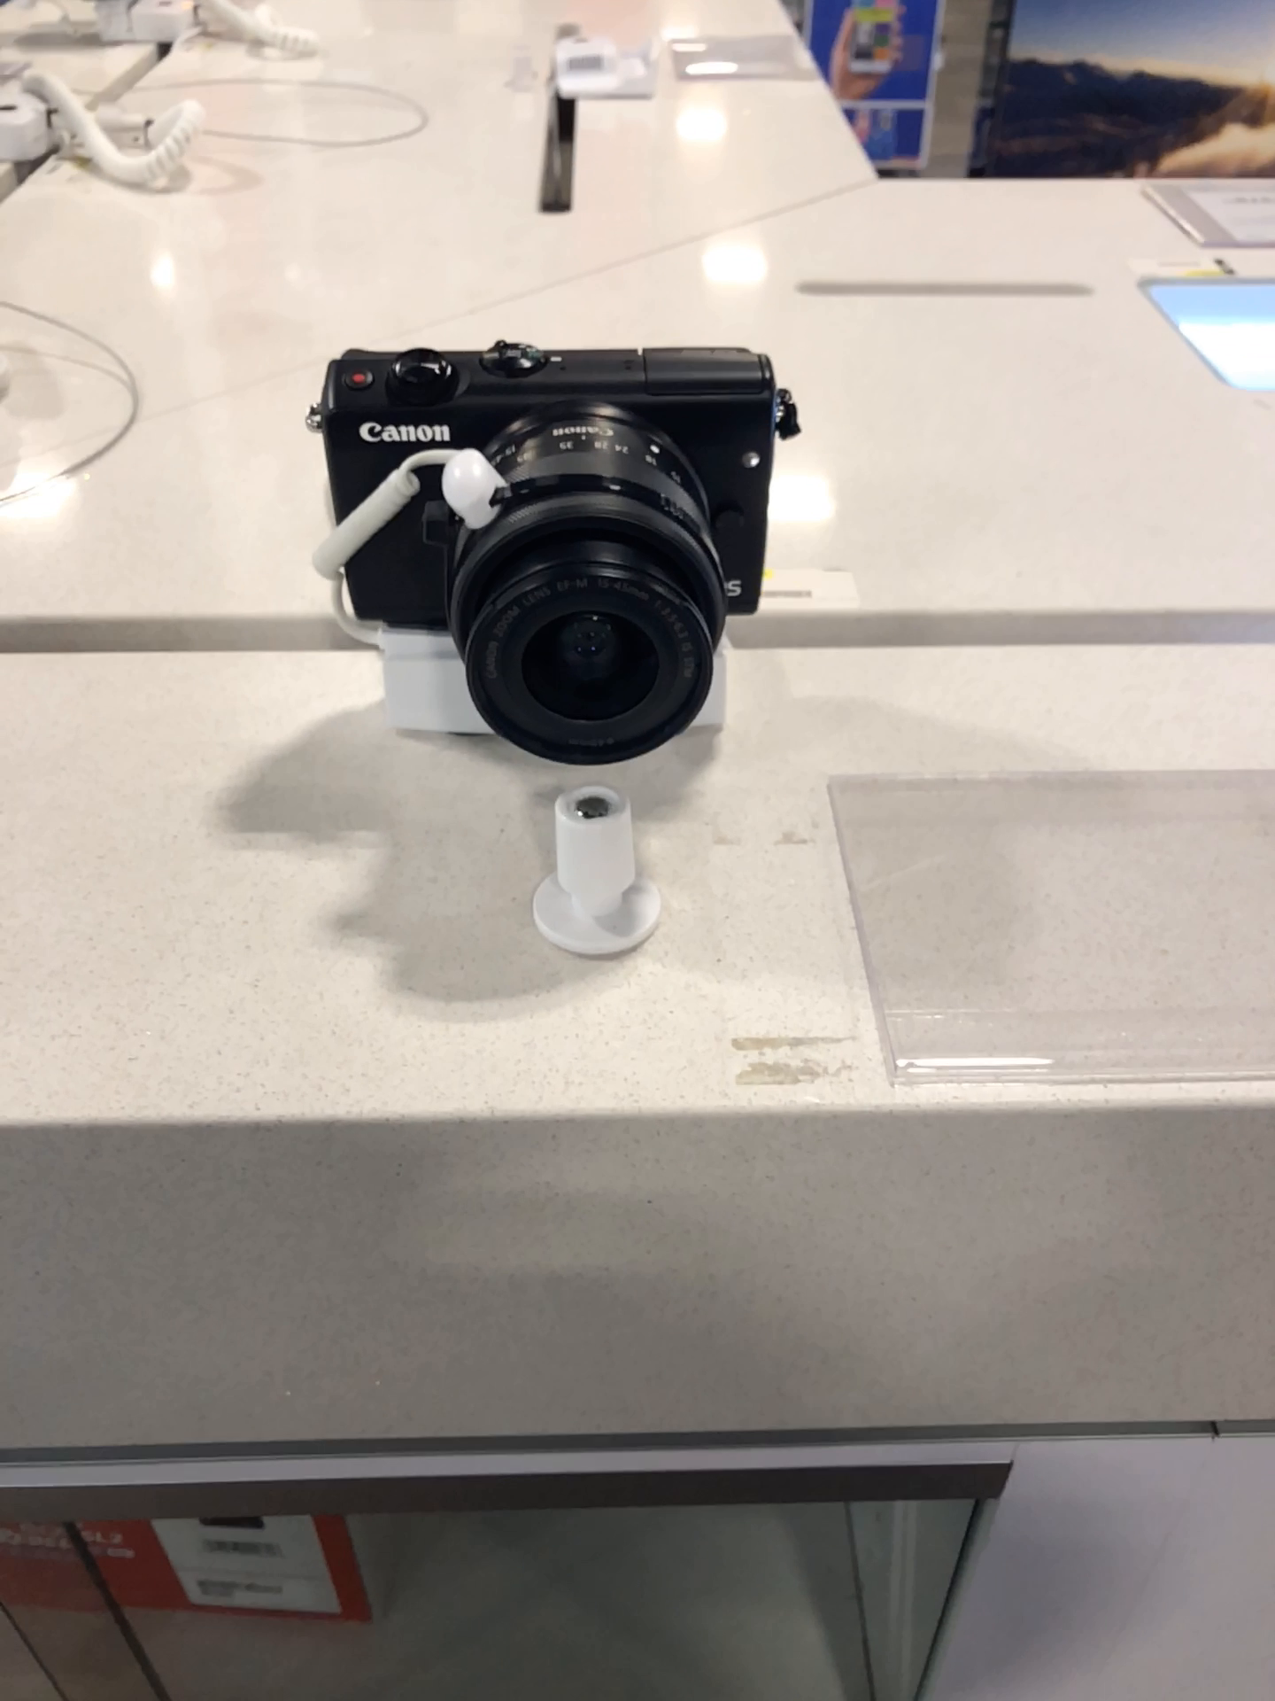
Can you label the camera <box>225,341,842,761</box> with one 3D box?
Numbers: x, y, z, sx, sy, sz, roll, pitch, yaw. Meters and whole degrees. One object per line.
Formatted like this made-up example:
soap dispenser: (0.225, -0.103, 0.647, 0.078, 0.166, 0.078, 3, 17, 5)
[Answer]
camera: (-0.020, -0.072, 0.328, 0.120, 0.060, 0.091, 0, 39, 0)
